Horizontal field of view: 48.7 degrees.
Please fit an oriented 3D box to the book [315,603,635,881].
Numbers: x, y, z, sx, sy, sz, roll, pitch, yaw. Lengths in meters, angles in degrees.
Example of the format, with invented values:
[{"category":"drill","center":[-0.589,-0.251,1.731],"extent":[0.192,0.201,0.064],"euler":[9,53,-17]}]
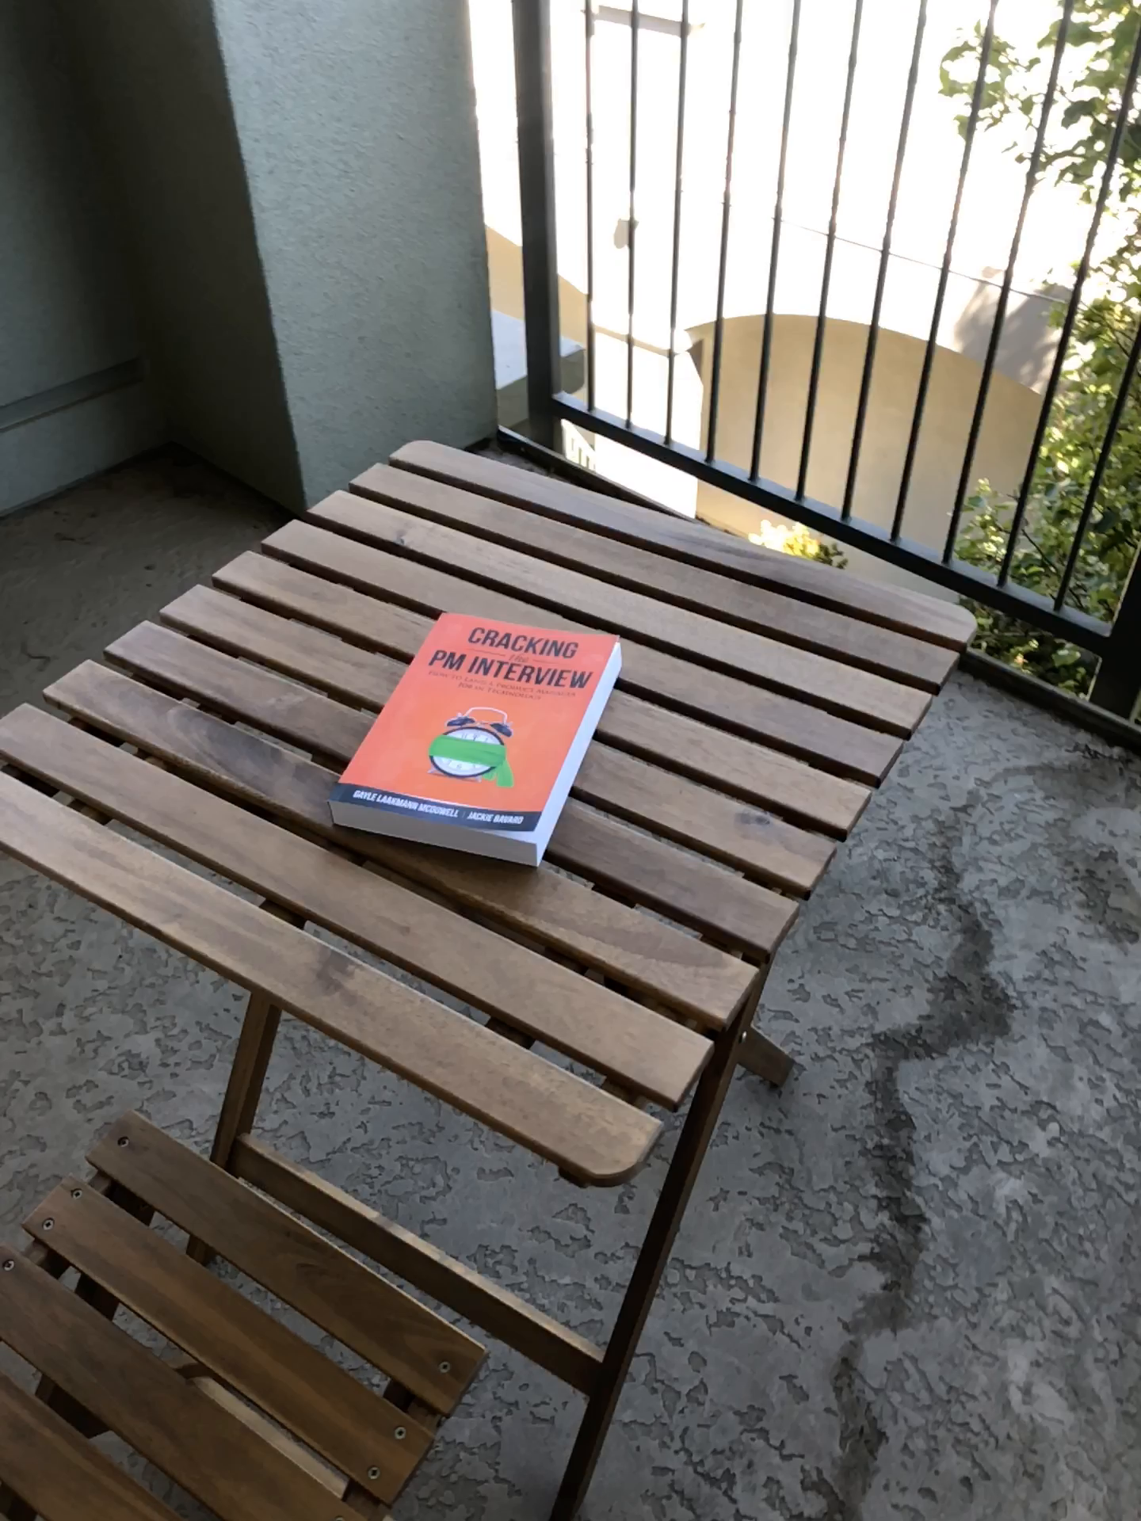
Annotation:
[{"category":"book","center":[-0.062,-0.023,0.946],"extent":[0.170,0.040,0.231],"euler":[11,44,12]}]
